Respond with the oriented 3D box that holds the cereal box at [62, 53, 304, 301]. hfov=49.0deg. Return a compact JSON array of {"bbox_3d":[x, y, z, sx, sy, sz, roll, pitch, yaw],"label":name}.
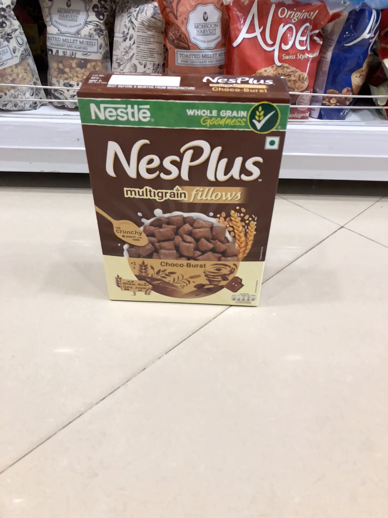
[{"bbox_3d":[-0.010,-0.072,0.459,0.200,0.258,0.060,2,40,1],"label":"cereal box"}]
